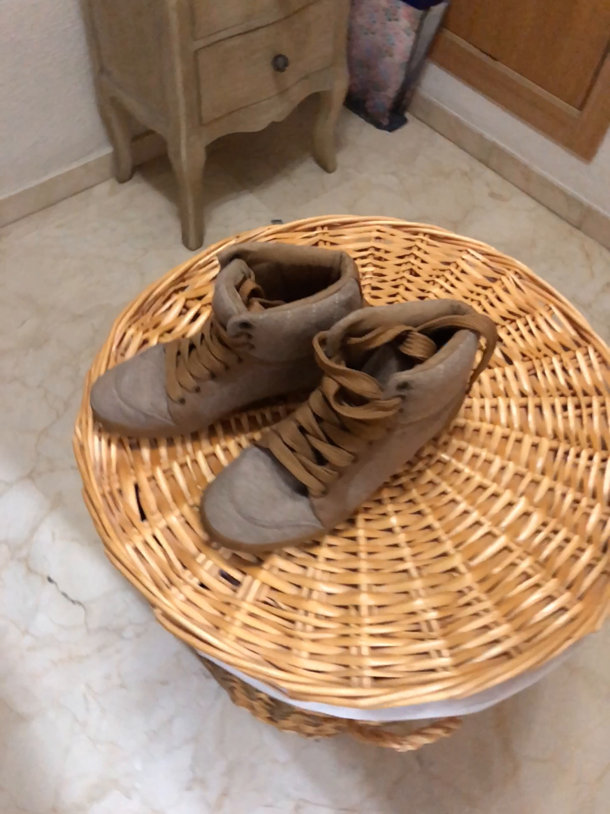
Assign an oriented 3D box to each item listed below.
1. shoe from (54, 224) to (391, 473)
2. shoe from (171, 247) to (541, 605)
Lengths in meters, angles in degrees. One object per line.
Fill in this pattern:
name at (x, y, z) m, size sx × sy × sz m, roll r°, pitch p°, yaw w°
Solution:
shoe at (-0.067, -0.045, 0.577) m, size 0.238 × 0.178 × 0.079 m, roll -11°, pitch 58°, yaw -12°
shoe at (0.035, 0.016, 0.512) m, size 0.239 × 0.168 × 0.096 m, roll -31°, pitch 64°, yaw -22°
